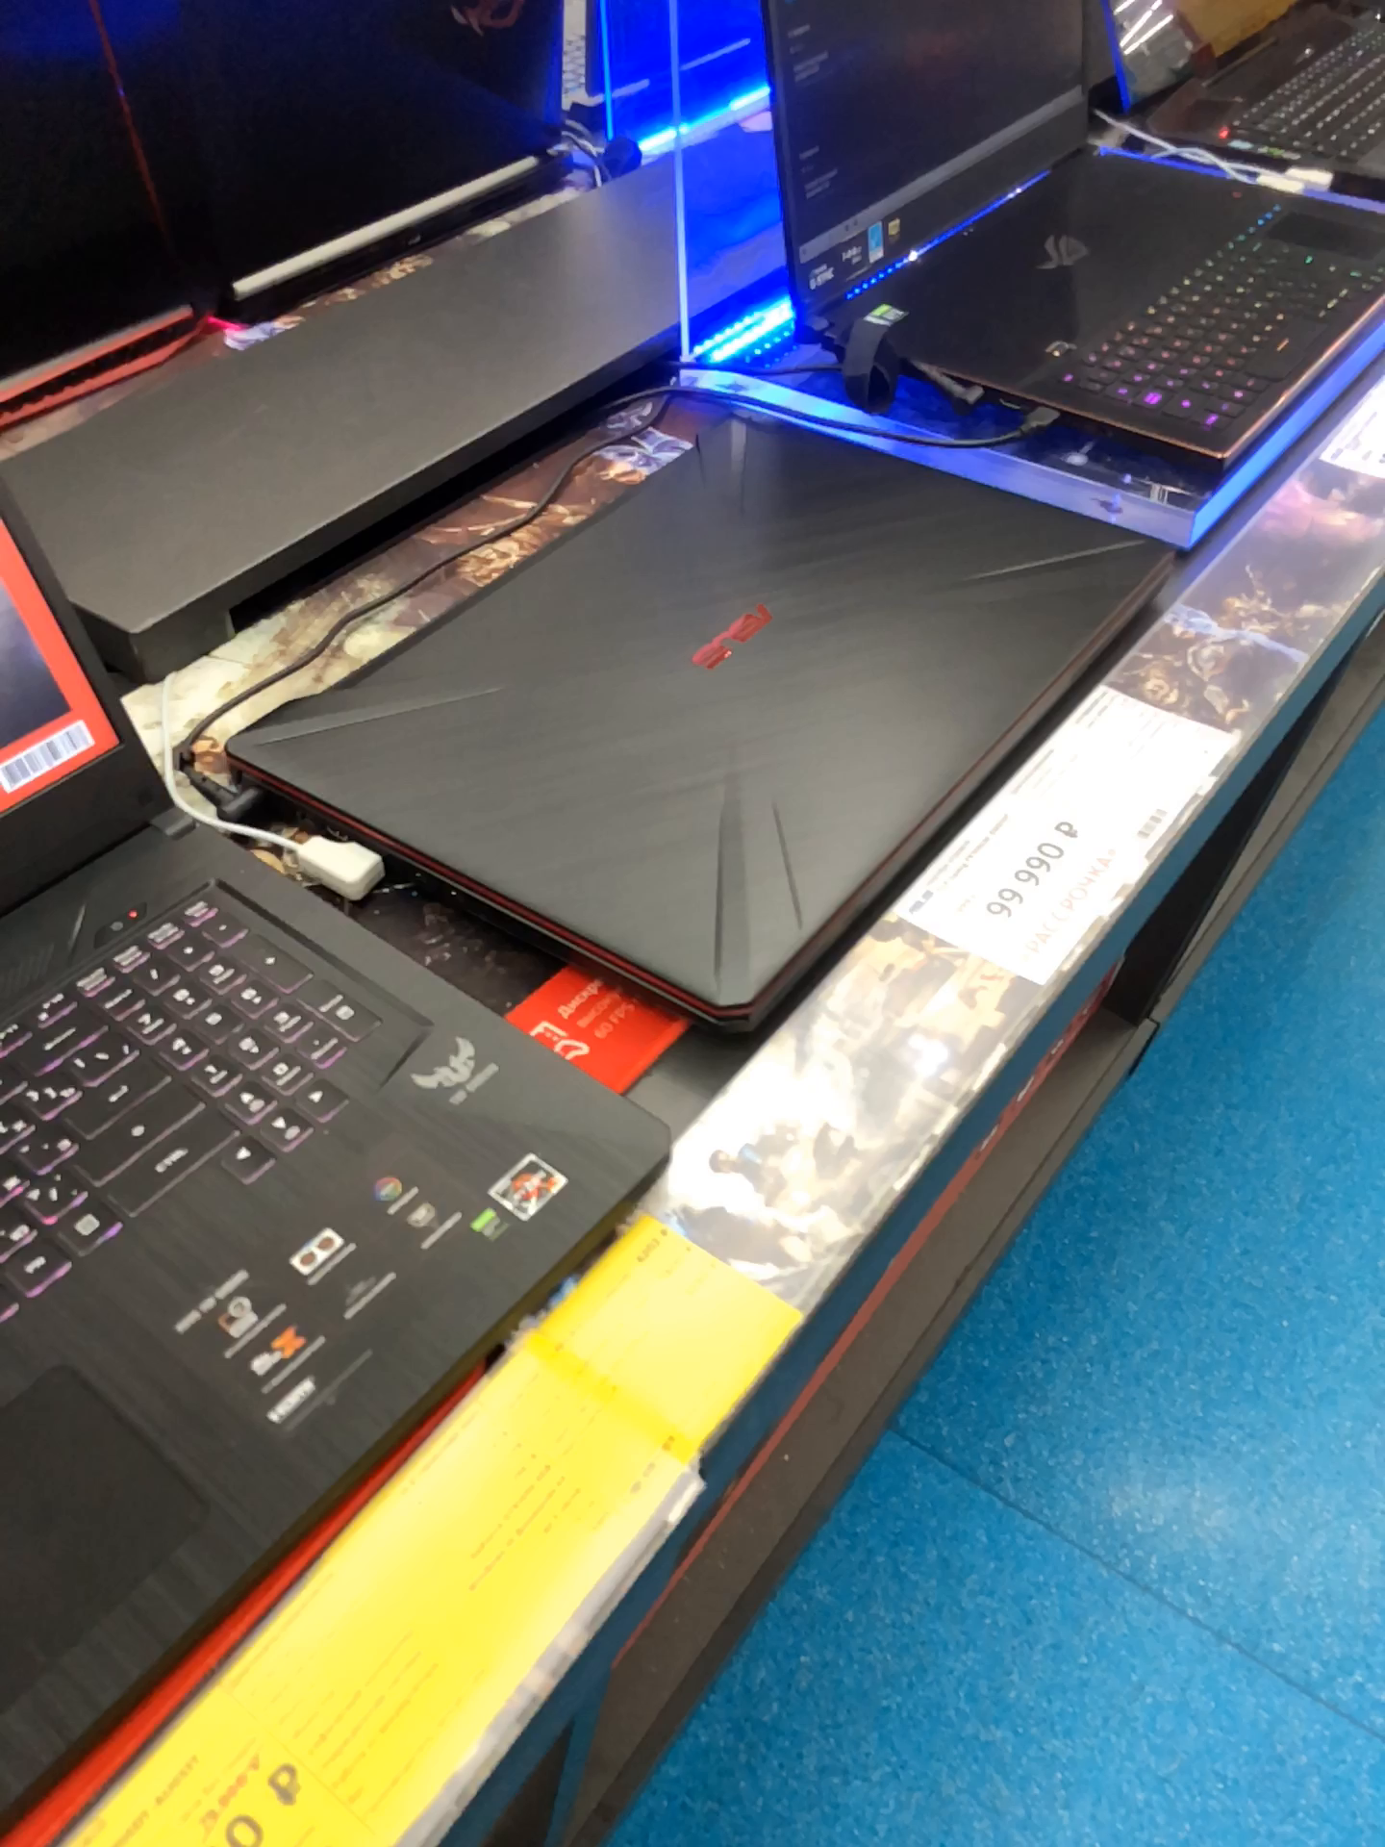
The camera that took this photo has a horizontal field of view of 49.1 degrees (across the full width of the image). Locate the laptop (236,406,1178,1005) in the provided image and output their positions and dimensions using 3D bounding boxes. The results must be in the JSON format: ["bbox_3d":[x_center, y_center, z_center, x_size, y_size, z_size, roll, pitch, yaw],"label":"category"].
[{"bbox_3d":[0.023,-0.134,0.705,0.253,0.002,0.389,27,52,26],"label":"laptop"}]
